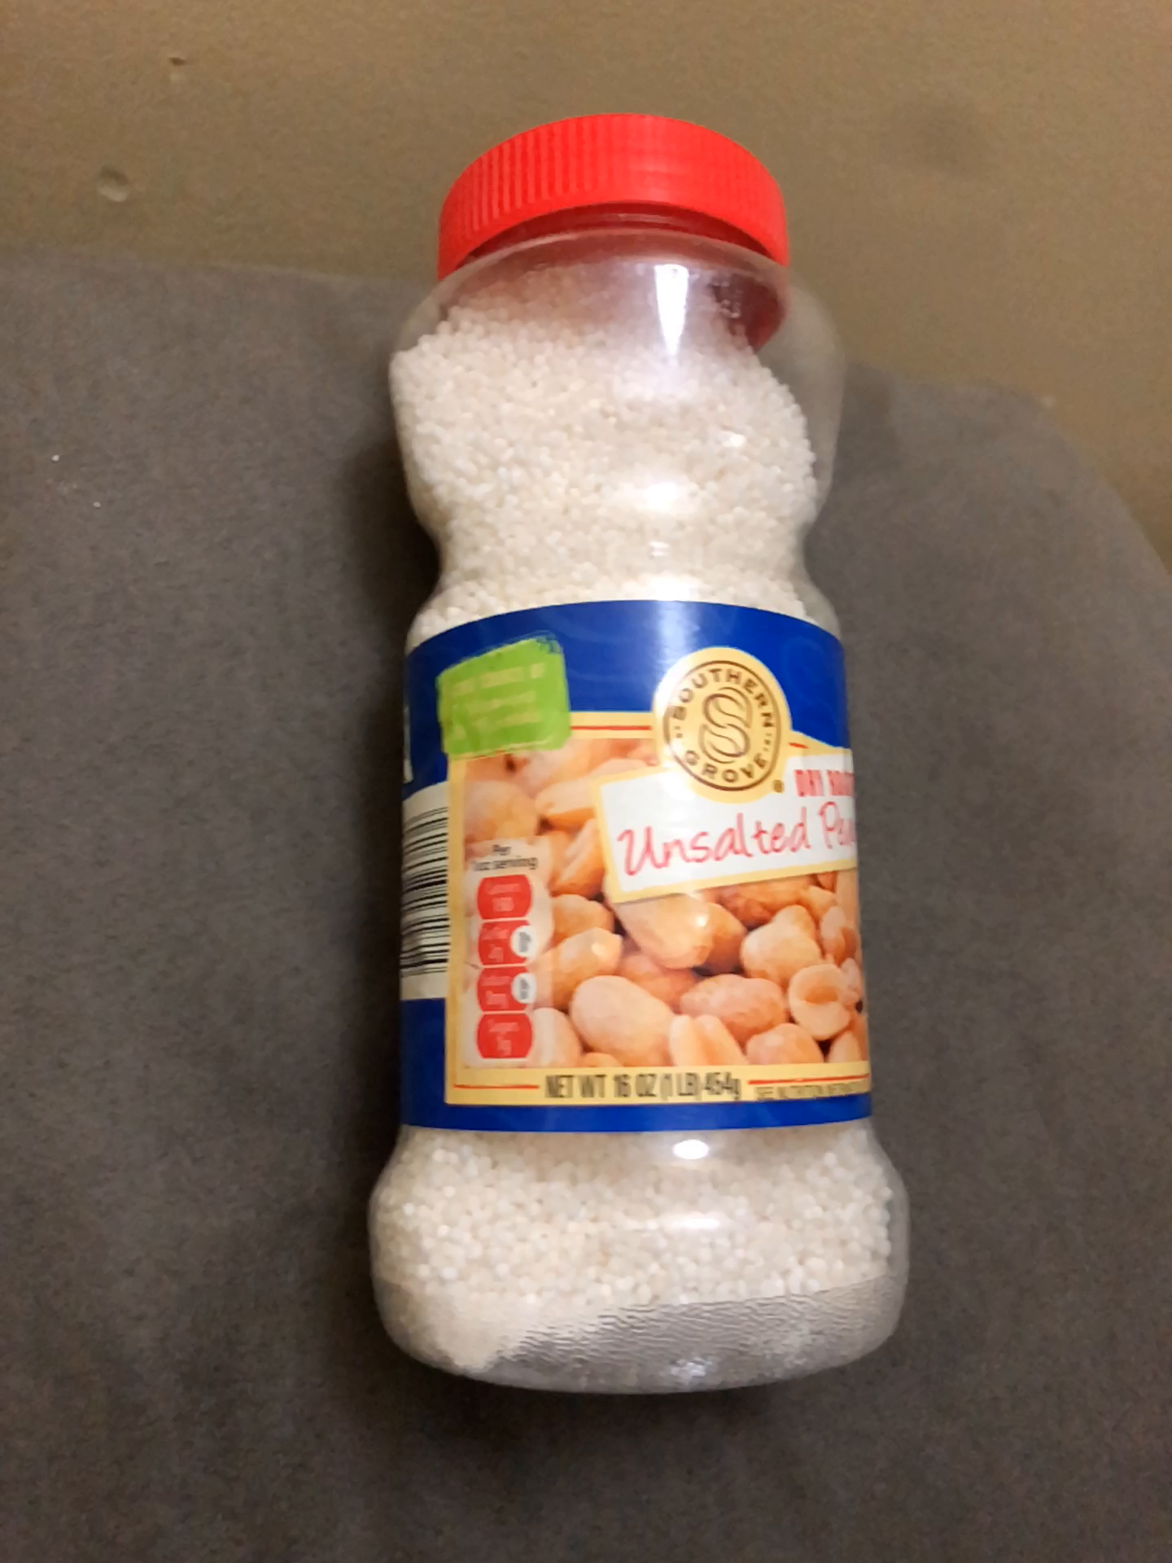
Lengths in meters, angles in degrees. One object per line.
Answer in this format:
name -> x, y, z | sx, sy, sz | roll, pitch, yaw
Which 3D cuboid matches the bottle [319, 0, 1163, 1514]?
bottle -> 0.010, -0.021, 0.212 | 0.095, 0.090, 0.220 | 2, 76, -12
